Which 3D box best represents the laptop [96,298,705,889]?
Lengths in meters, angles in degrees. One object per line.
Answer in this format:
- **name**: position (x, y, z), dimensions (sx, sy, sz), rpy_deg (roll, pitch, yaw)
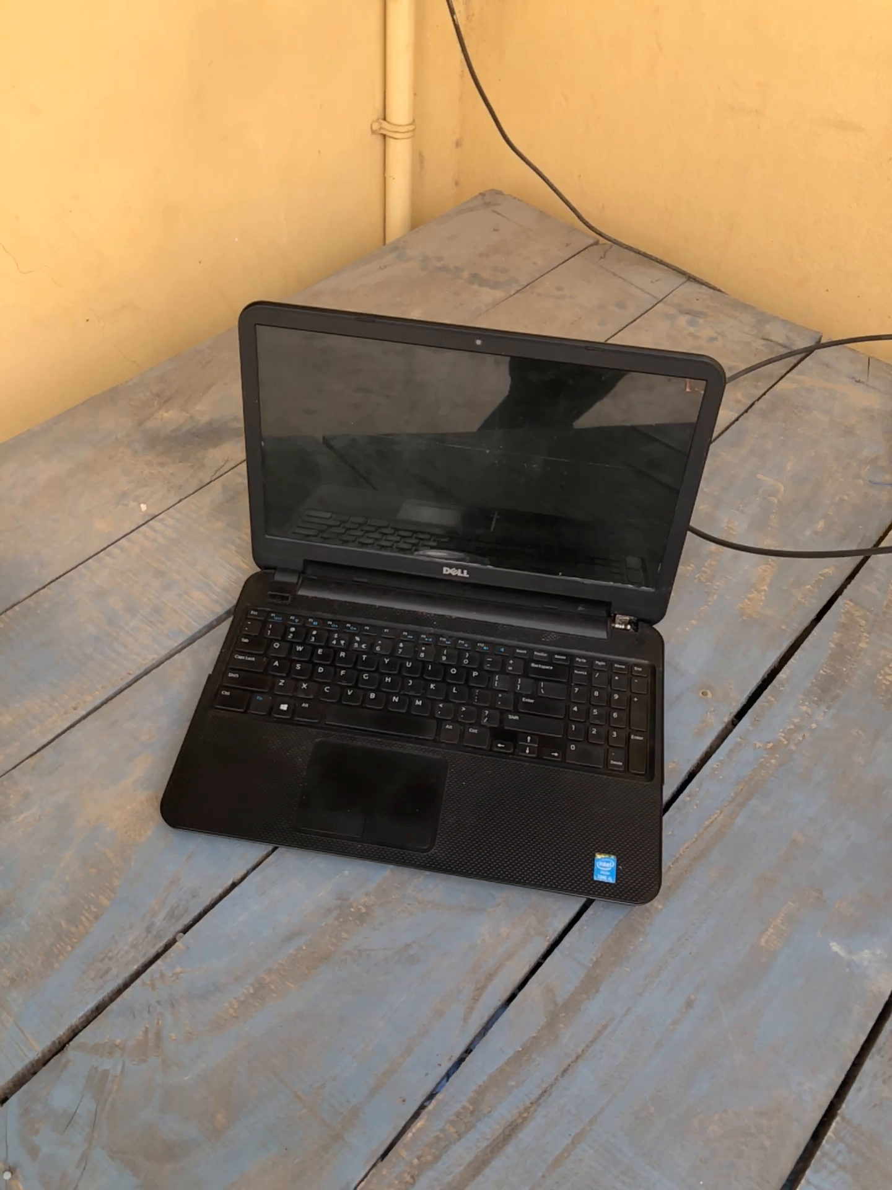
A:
- **laptop**: position (-0.007, -0.012, 0.701), dimensions (0.331, 0.214, 0.308), rpy_deg (8, 49, 5)
